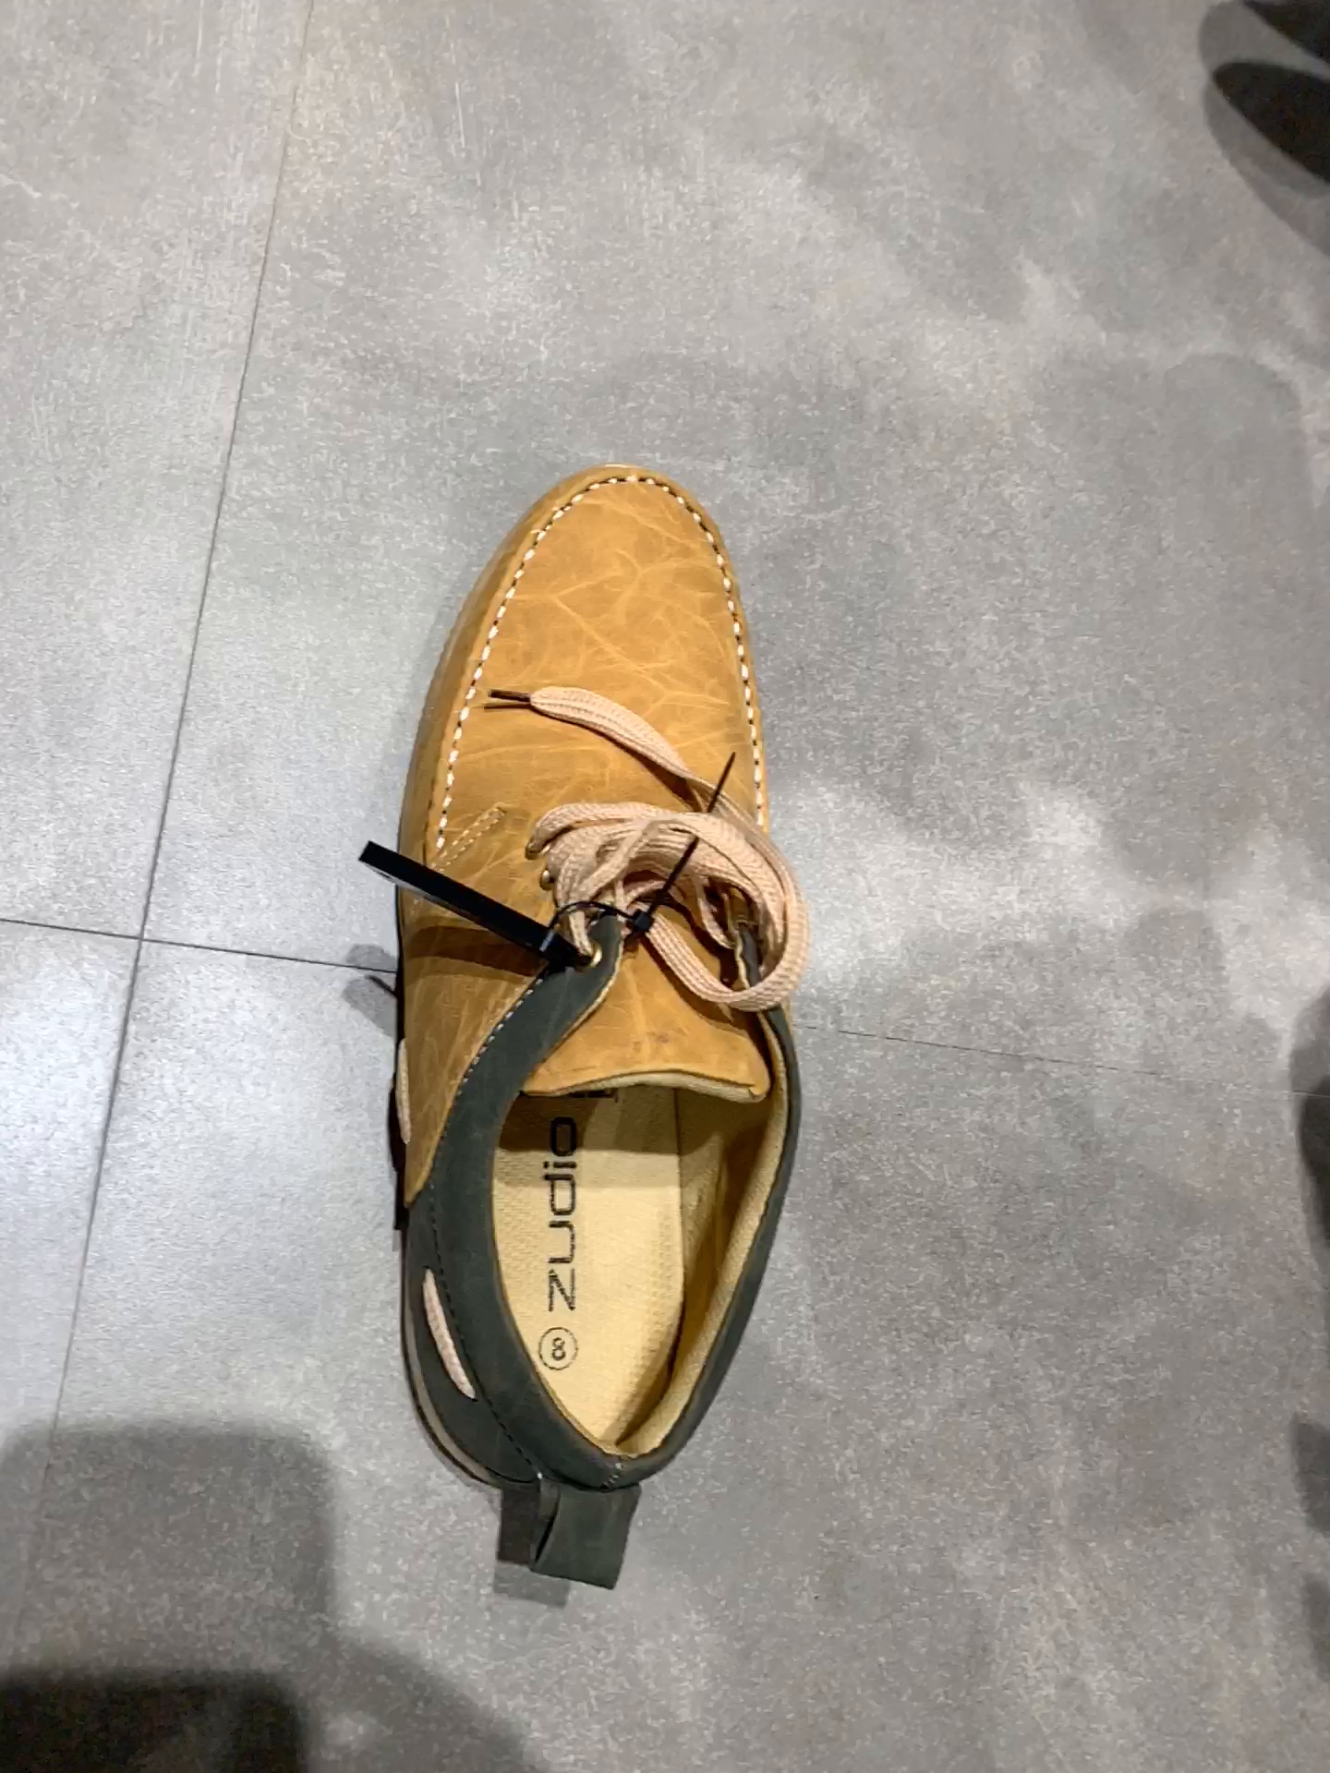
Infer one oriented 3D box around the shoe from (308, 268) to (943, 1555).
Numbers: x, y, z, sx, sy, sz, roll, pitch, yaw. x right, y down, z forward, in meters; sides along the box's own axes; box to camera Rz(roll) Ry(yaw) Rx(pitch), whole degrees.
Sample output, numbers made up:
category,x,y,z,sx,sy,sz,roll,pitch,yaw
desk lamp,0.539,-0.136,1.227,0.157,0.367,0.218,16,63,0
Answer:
category,x,y,z,sx,sy,sz,roll,pitch,yaw
shoe,-0.013,0.009,0.342,0.111,0.117,0.267,7,72,-18
